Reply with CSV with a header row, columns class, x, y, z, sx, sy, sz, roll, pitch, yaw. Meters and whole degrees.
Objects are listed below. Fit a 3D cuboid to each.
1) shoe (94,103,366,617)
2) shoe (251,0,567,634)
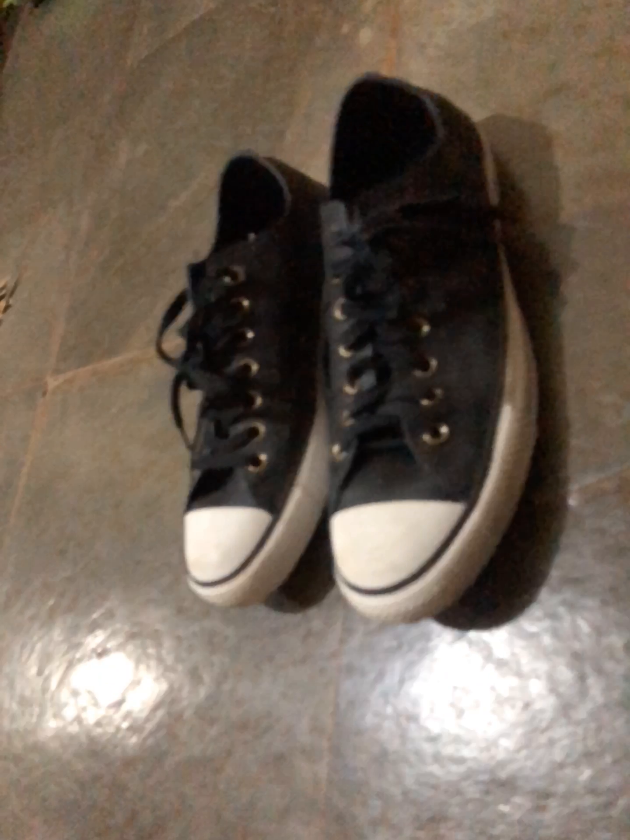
class,x,y,z,sx,sy,sz,roll,pitch,yaw
shoe,-0.043,-0.035,0.421,0.100,0.080,0.291,-11,64,39
shoe,0.054,-0.059,0.349,0.110,0.080,0.311,-11,64,39
